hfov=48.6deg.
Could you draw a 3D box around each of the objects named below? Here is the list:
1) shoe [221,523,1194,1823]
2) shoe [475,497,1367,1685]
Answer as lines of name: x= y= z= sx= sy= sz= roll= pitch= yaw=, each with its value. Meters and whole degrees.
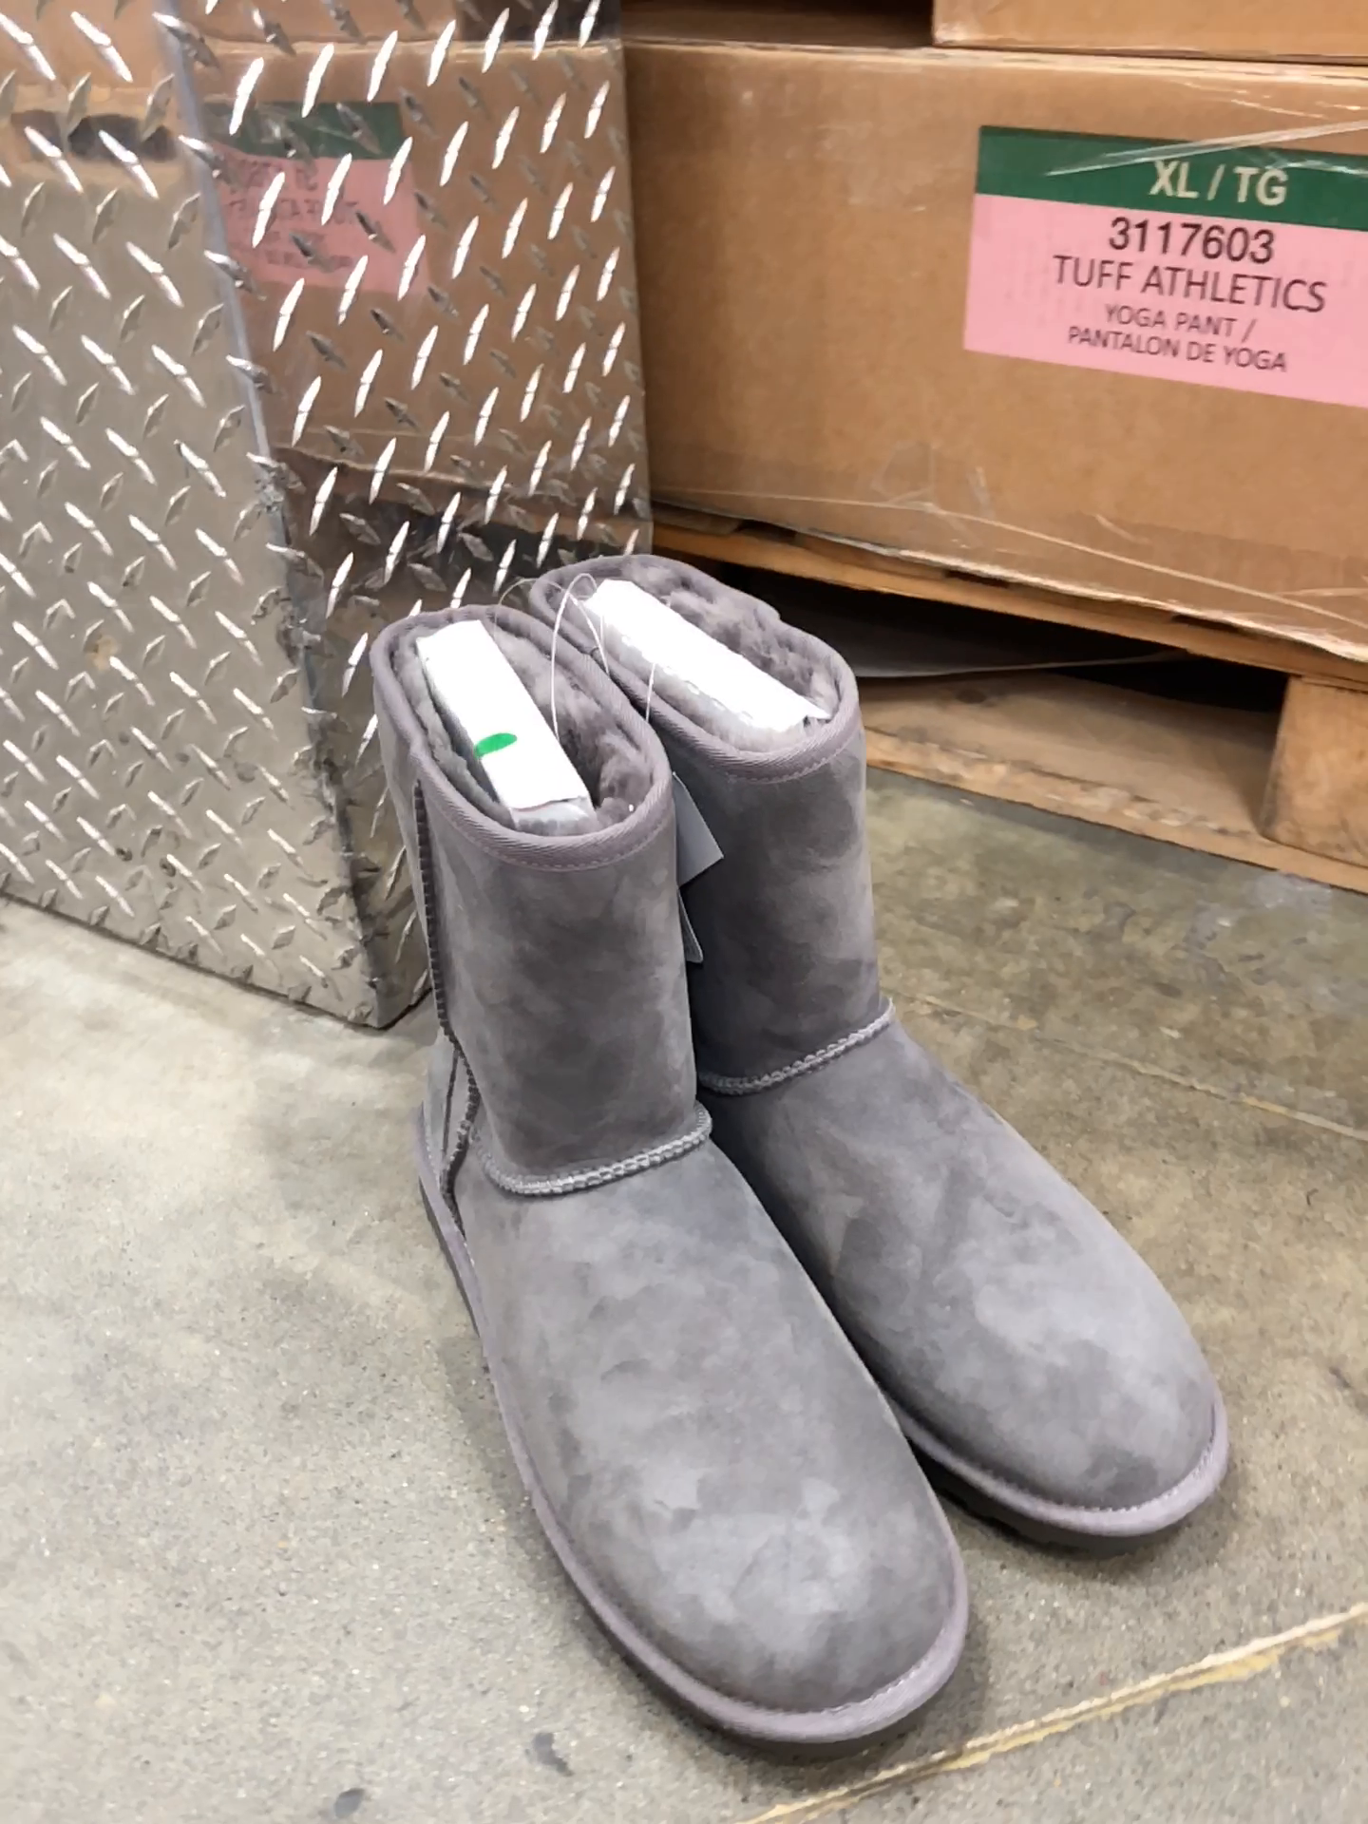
shoe: x=-0.016 y=0.058 z=0.439 sx=0.120 sy=0.239 sz=0.281 roll=-18 pitch=38 yaw=-21
shoe: x=0.065 y=0.037 z=0.469 sx=0.110 sy=0.239 sz=0.271 roll=-25 pitch=41 yaw=-28
